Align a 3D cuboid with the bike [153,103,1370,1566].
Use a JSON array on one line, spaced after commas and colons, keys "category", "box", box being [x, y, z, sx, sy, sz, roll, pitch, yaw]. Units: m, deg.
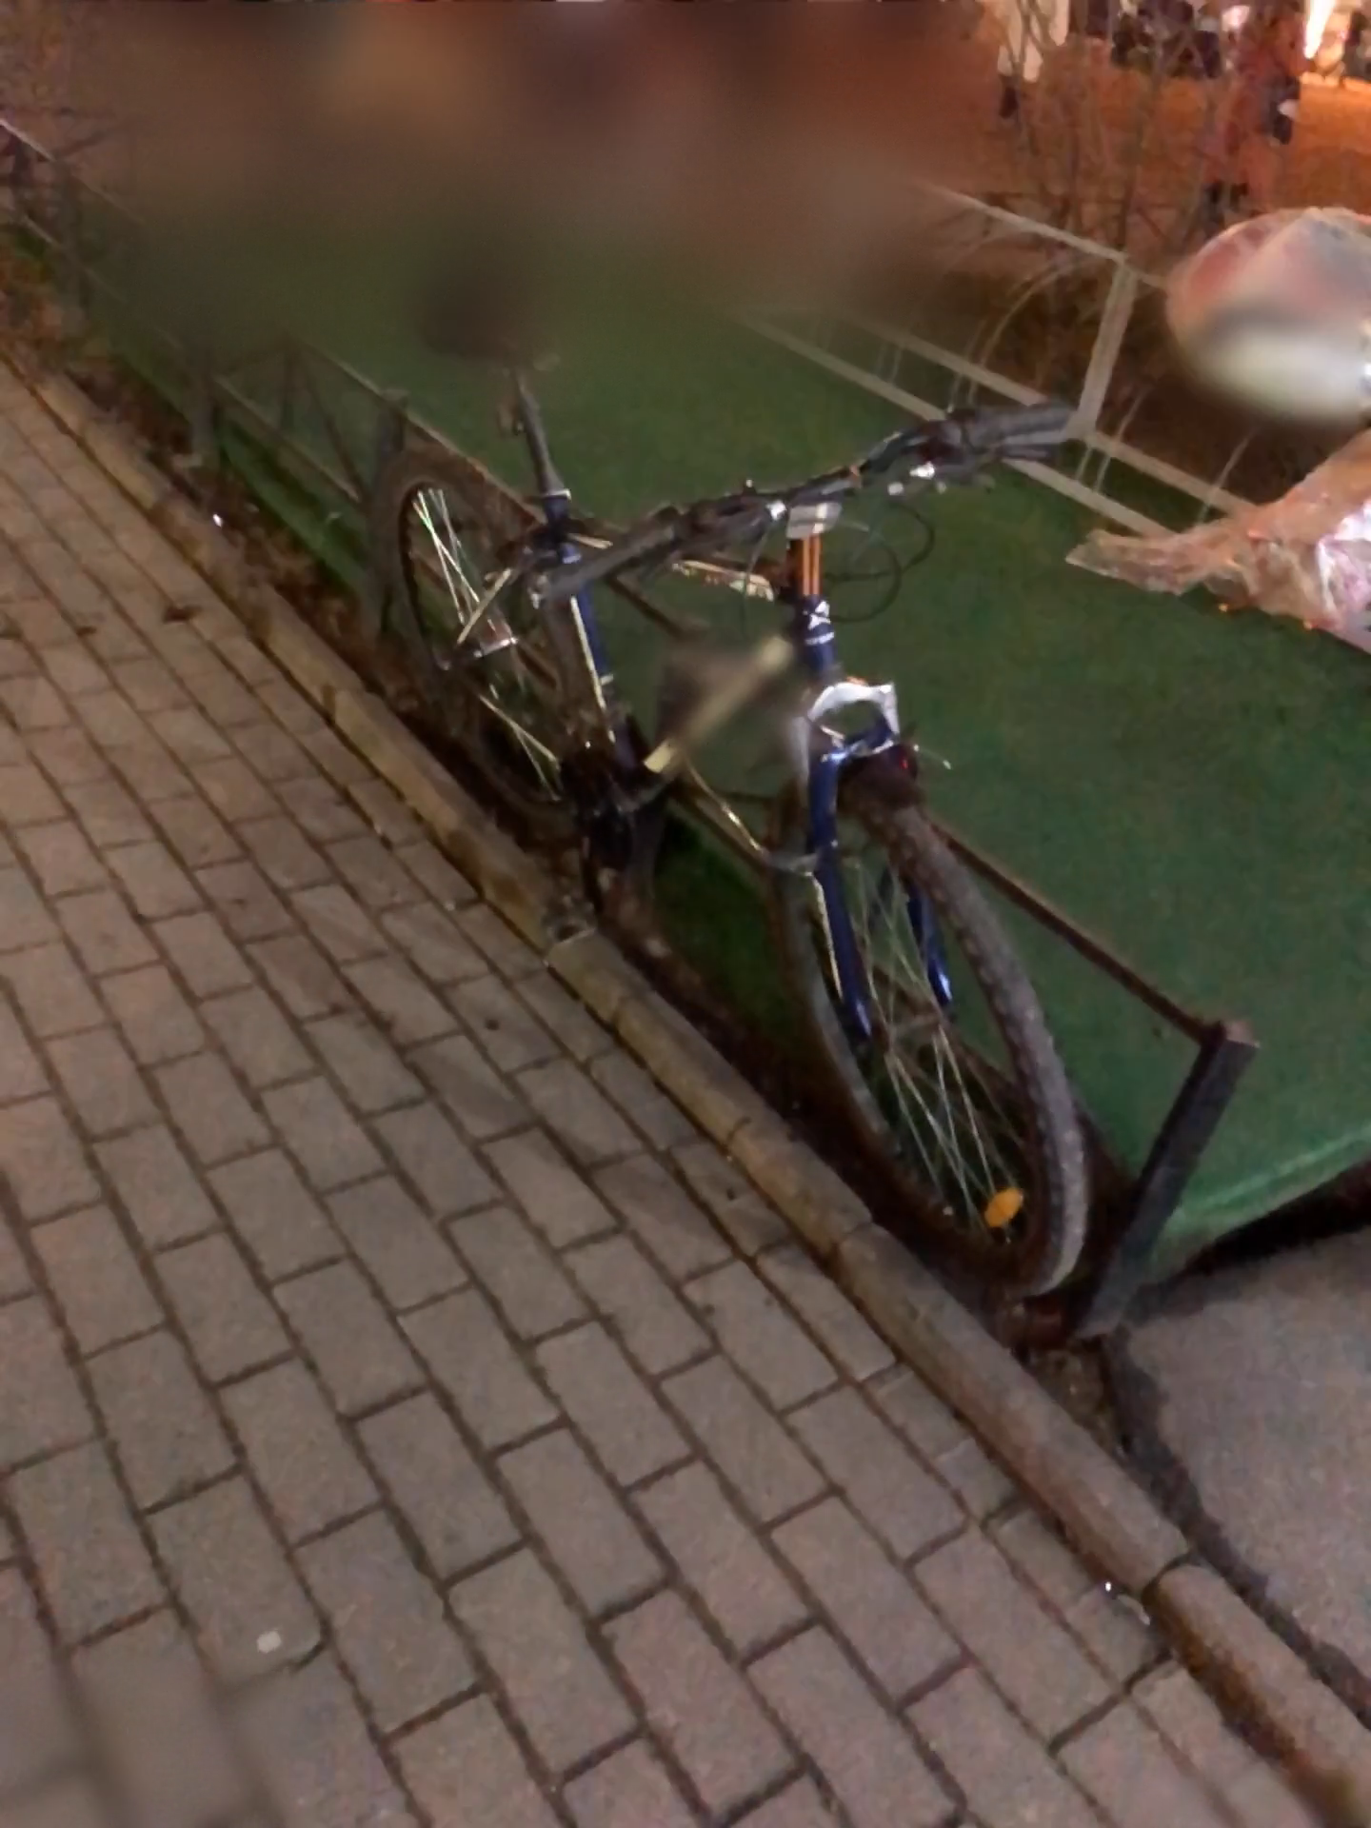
[{"category": "bike", "box": [-0.102, -0.233, 1.691, 0.531, 0.883, 1.462, -12, 41, -32]}]
